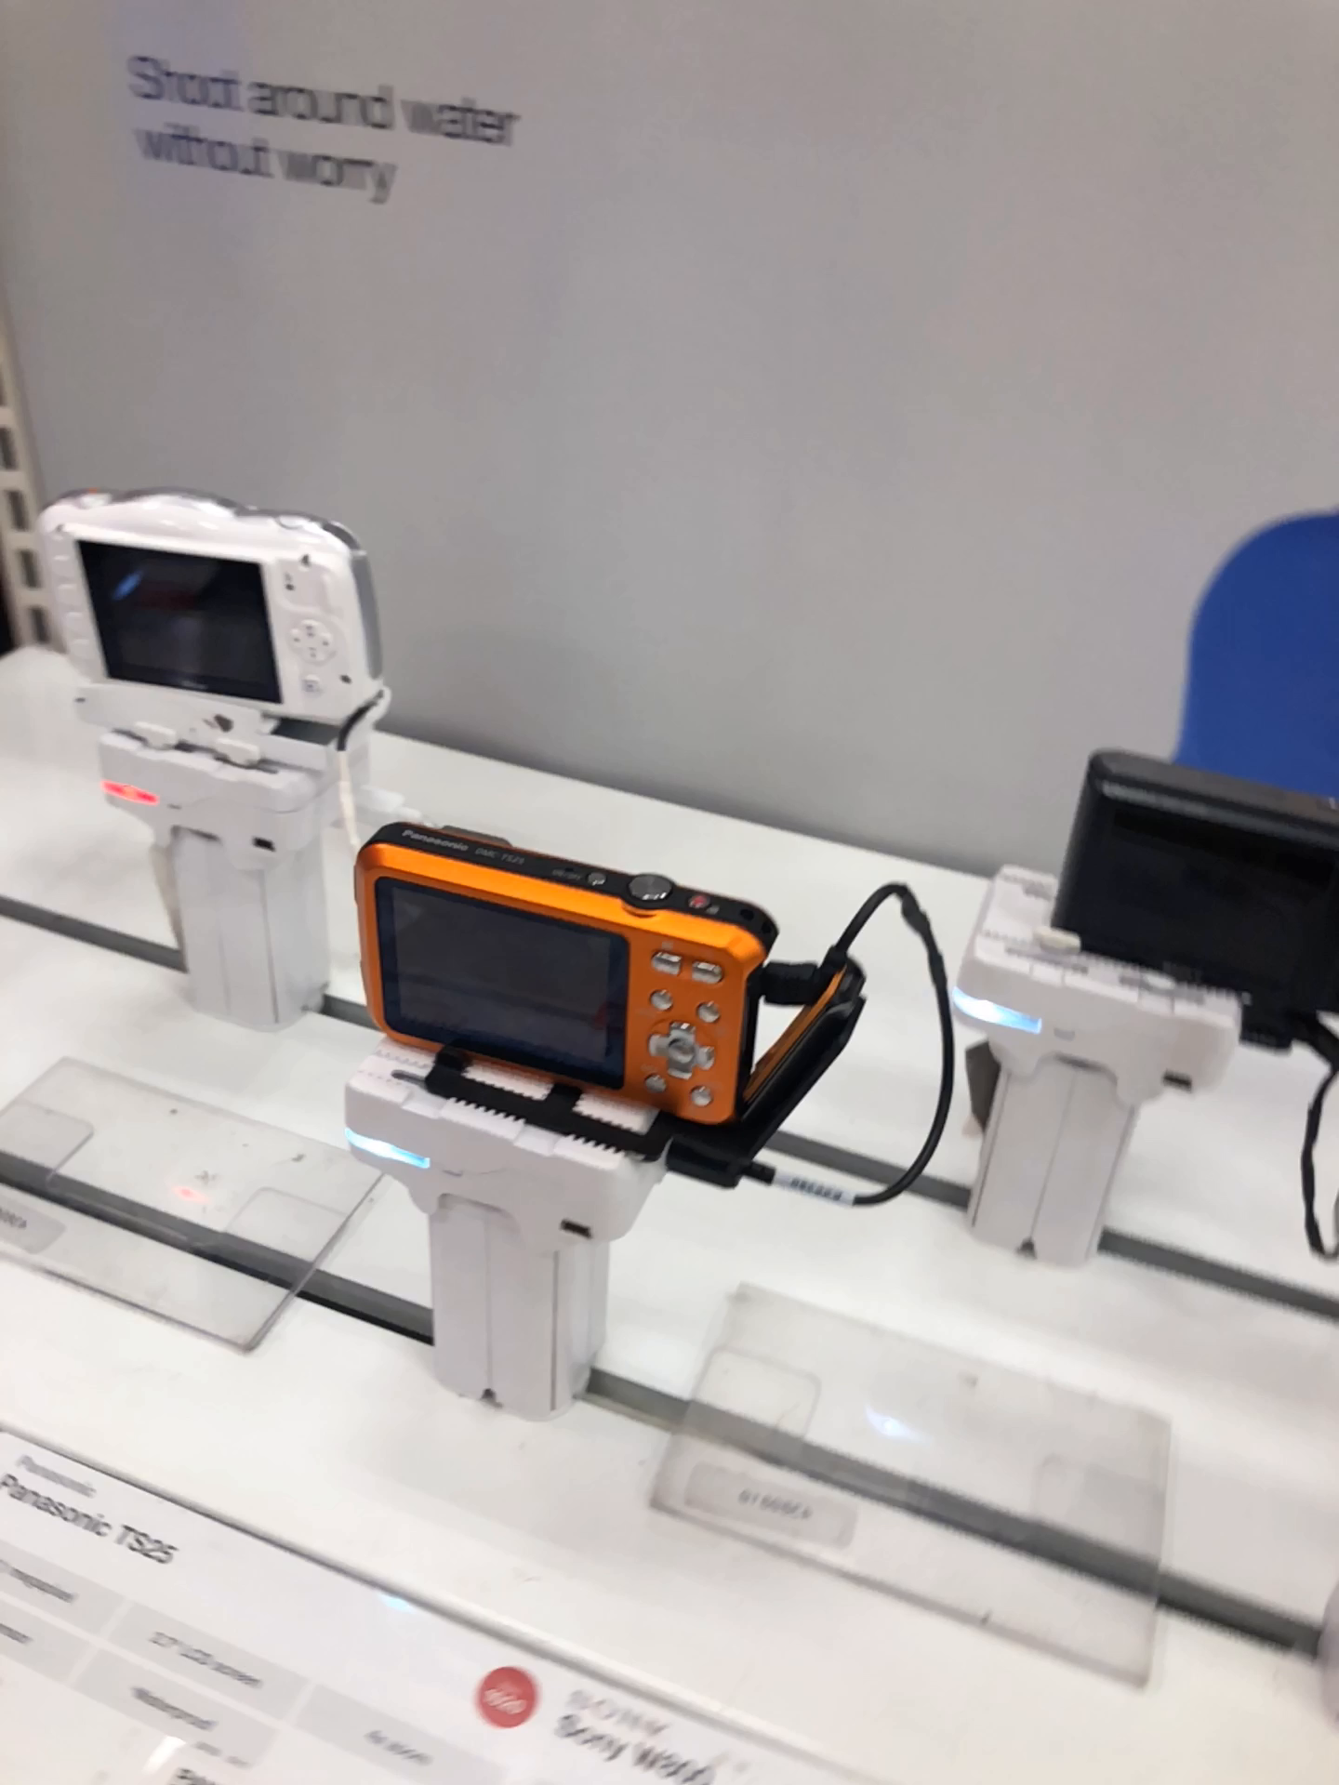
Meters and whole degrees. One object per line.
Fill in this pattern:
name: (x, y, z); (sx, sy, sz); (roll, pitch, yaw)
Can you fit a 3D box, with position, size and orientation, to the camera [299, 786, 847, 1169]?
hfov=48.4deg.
camera: (-0.024, 0.019, 0.340); (0.120, 0.060, 0.020); (13, 35, 14)
